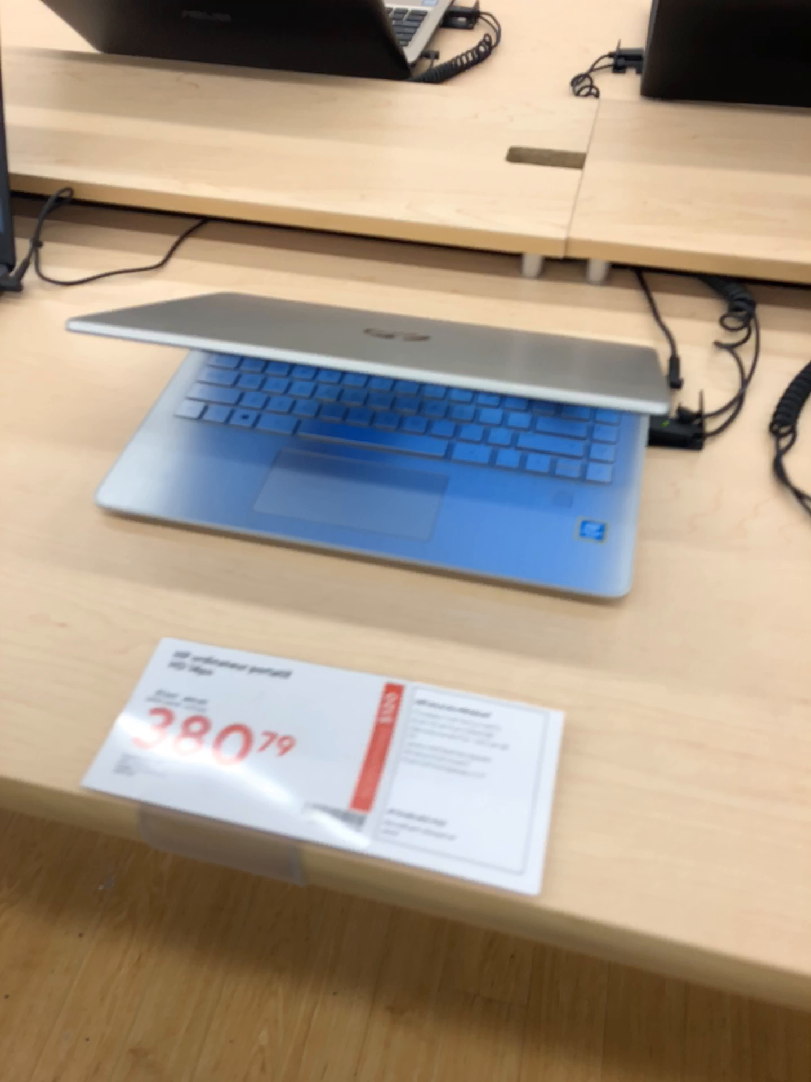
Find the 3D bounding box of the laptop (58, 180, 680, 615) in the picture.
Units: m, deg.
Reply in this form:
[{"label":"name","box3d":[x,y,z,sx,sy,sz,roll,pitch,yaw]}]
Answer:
[{"label":"laptop","box3d":[-0.011,-0.108,0.525,0.319,0.104,0.217,11,47,17]}]
